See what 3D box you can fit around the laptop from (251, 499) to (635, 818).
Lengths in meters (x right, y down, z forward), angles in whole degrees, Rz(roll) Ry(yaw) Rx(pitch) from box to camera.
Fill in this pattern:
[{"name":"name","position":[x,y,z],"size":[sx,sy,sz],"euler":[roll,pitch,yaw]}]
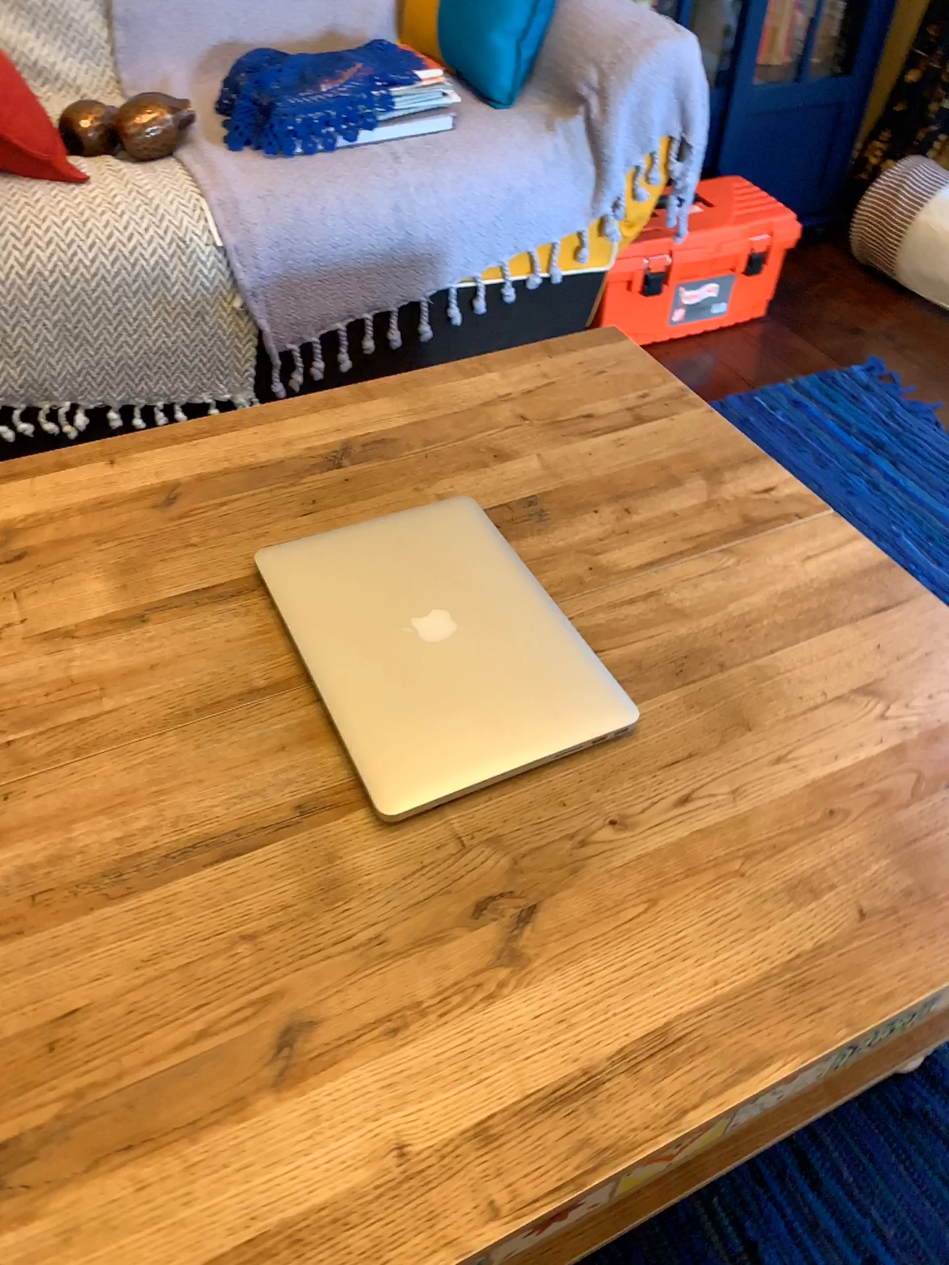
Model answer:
[{"name":"laptop","position":[-0.038,0.001,0.797],"size":[0.208,0.002,0.299],"euler":[-19,49,-19]}]
